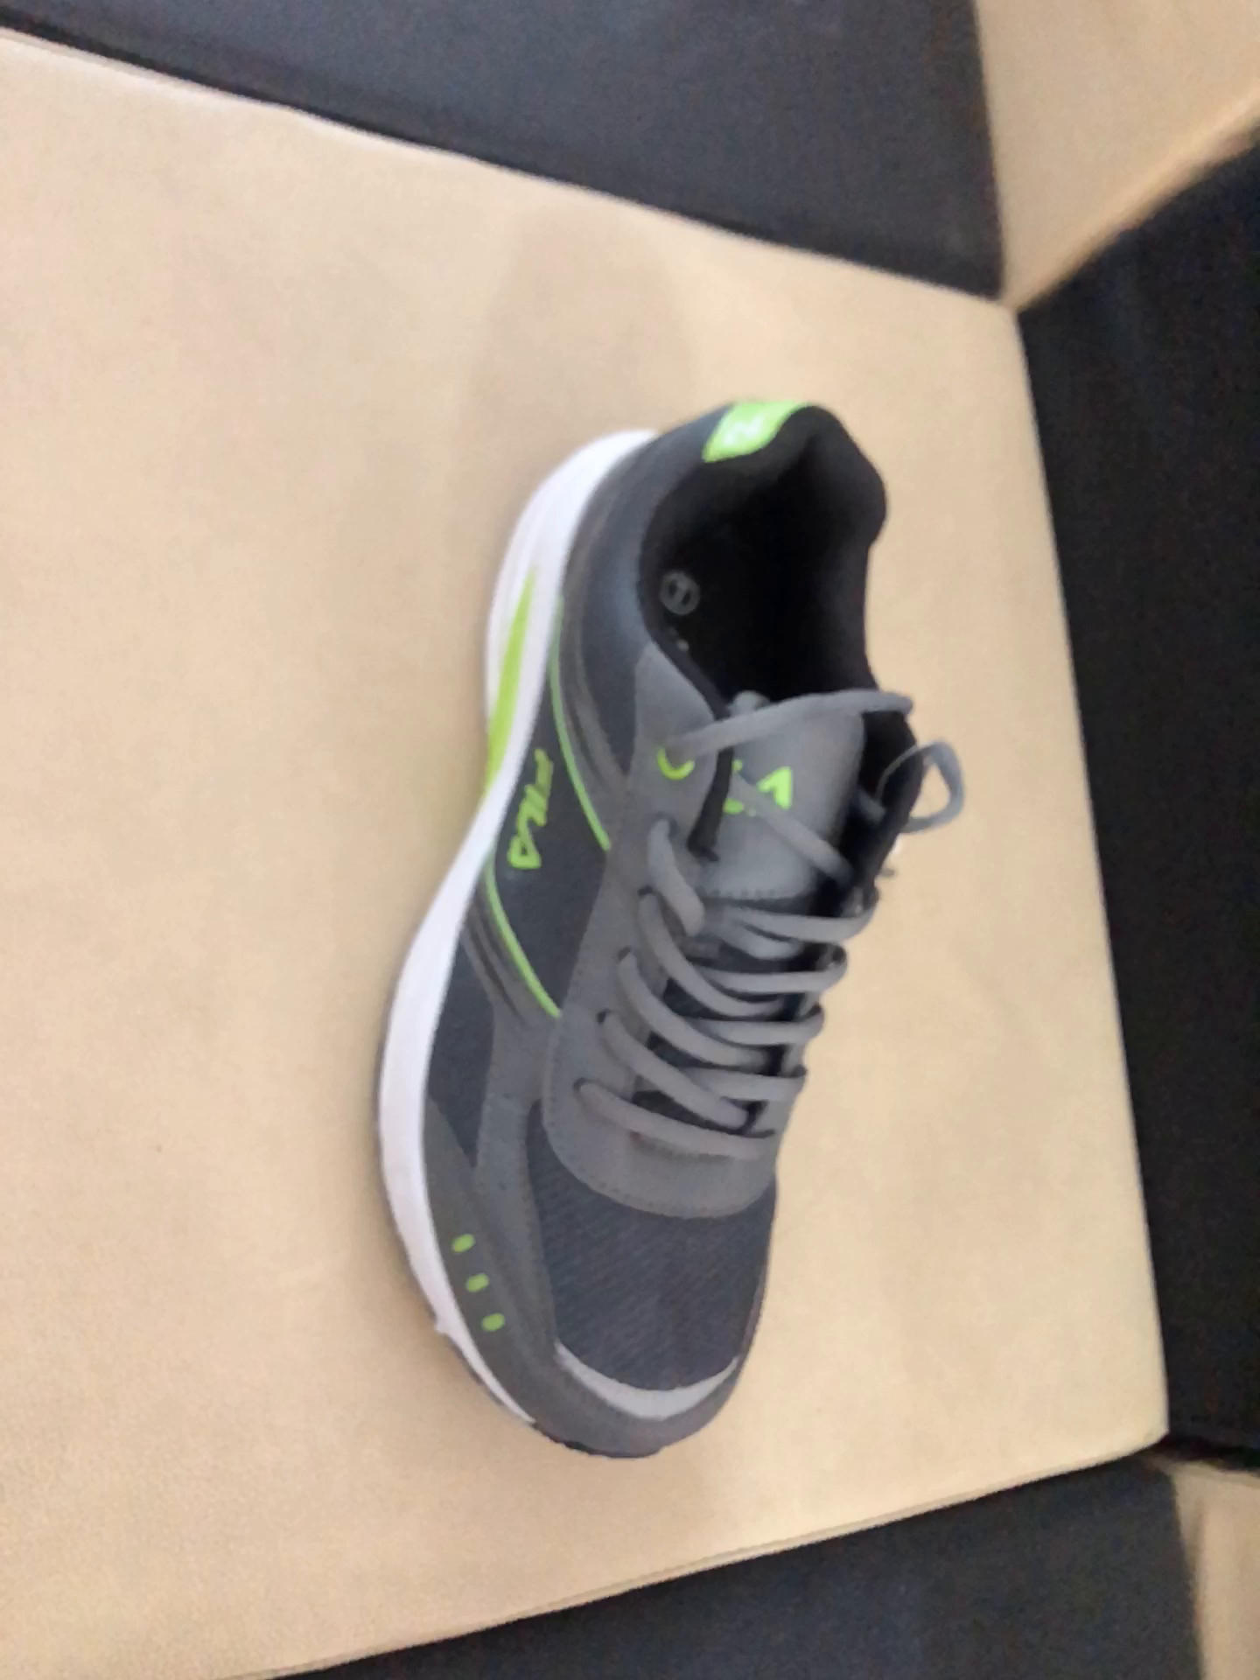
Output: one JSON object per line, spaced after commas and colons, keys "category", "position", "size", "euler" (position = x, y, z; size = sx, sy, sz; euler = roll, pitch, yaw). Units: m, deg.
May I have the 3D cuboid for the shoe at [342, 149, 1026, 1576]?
{"category": "shoe", "position": [0.014, 0.004, 0.379], "size": [0.131, 0.099, 0.320], "euler": [9, 73, -26]}
